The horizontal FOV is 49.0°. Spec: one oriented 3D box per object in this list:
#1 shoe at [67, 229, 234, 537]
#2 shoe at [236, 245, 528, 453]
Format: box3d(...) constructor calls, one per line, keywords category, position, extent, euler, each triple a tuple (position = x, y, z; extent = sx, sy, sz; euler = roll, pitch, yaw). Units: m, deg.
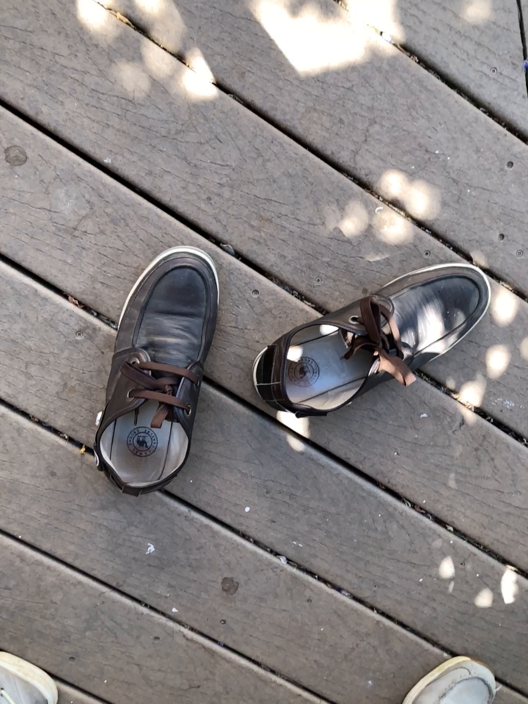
box3d(category="shoe", position=(-0.121, 0.028, 0.640), extent=(0.108, 0.121, 0.301), euler=(12, 99, -7))
box3d(category="shoe", position=(0.132, -0.012, 0.654), extent=(0.303, 0.121, 0.108), euler=(-22, 101, 0))
